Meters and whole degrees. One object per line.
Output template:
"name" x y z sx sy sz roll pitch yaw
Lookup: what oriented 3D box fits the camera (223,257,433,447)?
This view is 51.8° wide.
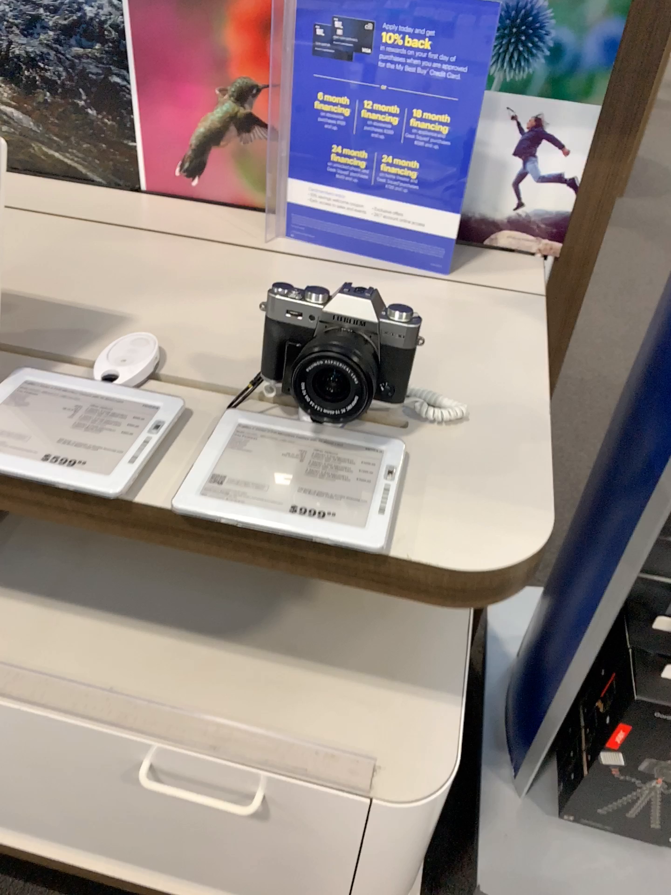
"camera" -0.004 -0.075 0.521 0.130 0.080 0.101 12 40 8
